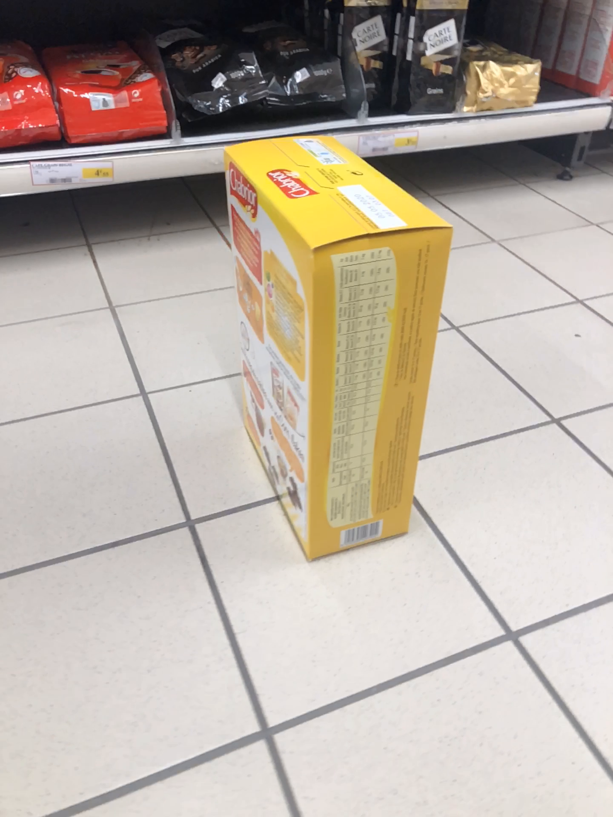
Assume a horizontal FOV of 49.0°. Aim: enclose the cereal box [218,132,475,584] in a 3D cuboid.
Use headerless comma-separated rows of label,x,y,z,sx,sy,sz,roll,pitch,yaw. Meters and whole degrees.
cereal box,0.013,-0.043,0.578,0.110,0.308,0.211,-12,40,-17
